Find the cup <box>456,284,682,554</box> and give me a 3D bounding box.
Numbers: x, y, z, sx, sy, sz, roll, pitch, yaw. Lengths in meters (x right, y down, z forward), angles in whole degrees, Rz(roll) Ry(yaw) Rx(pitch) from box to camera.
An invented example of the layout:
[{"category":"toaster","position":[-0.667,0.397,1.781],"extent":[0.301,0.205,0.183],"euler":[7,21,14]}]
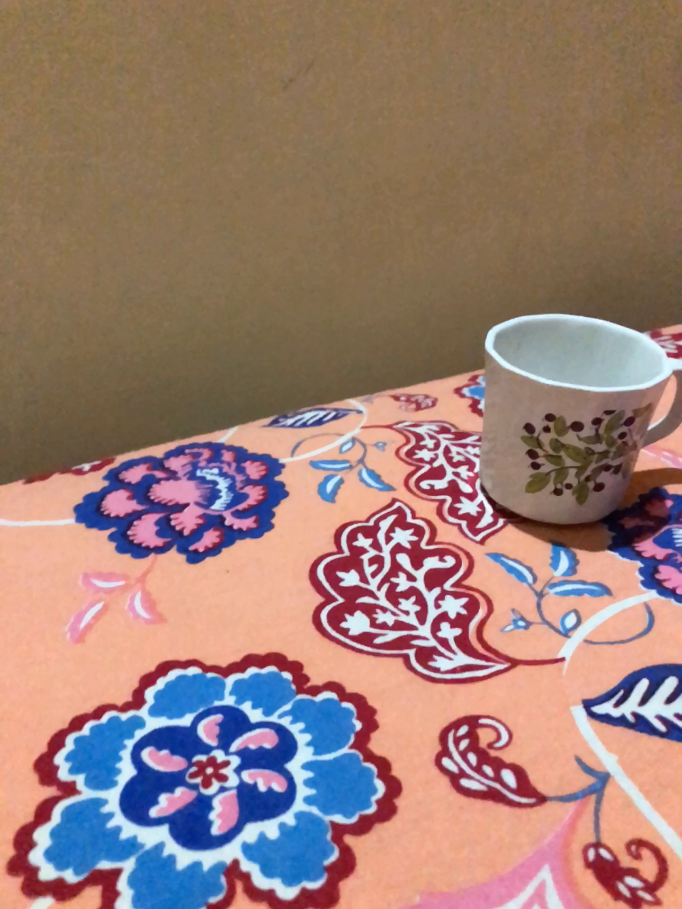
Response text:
[{"category":"cup","position":[0.096,-0.015,0.282],"extent":[0.090,0.070,0.060],"euler":[-7,34,-6]}]
